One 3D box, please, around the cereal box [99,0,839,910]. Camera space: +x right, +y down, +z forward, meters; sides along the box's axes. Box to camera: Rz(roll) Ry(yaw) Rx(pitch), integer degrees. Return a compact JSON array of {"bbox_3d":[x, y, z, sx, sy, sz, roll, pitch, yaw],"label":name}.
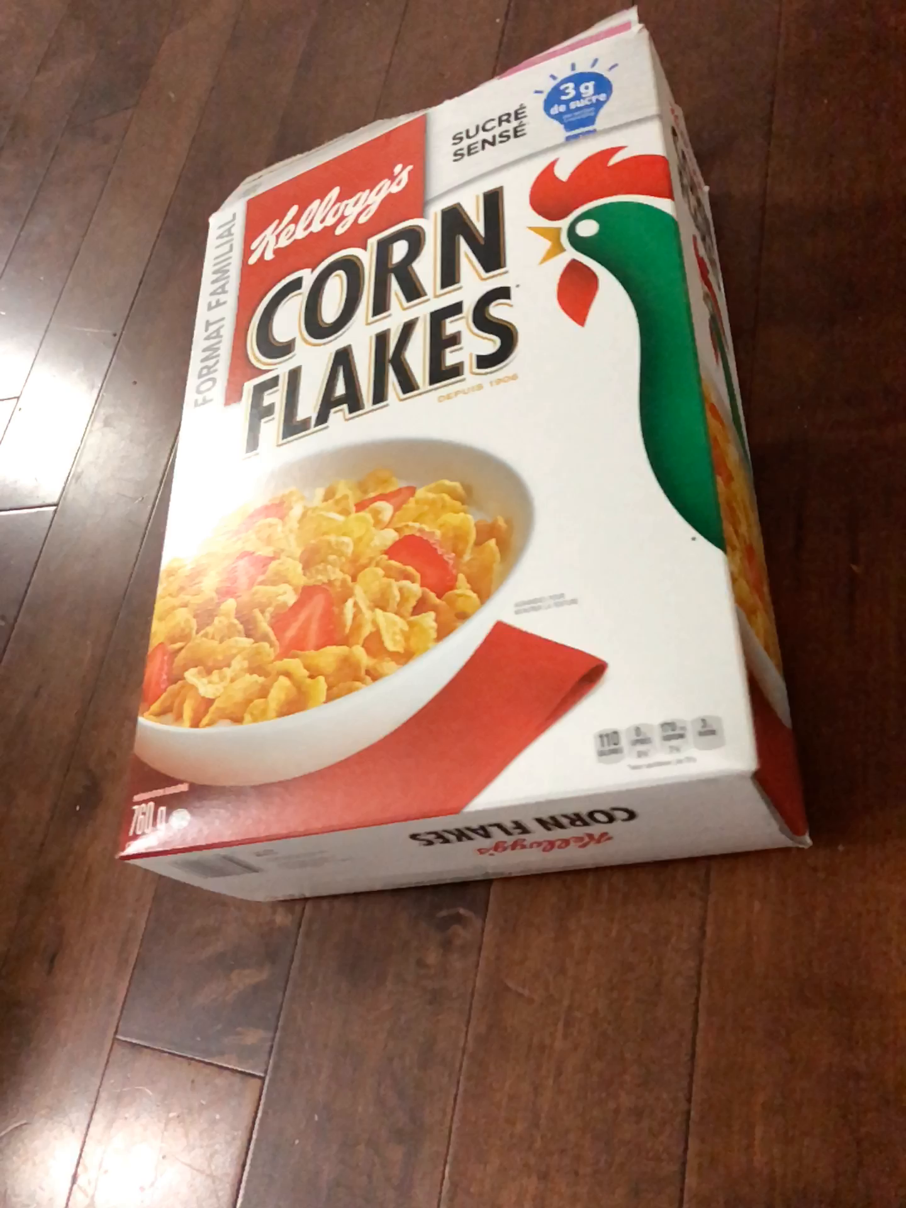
[{"bbox_3d":[-0.001,-0.074,0.456,0.261,0.090,0.380,-13,61,24],"label":"cereal box"}]
